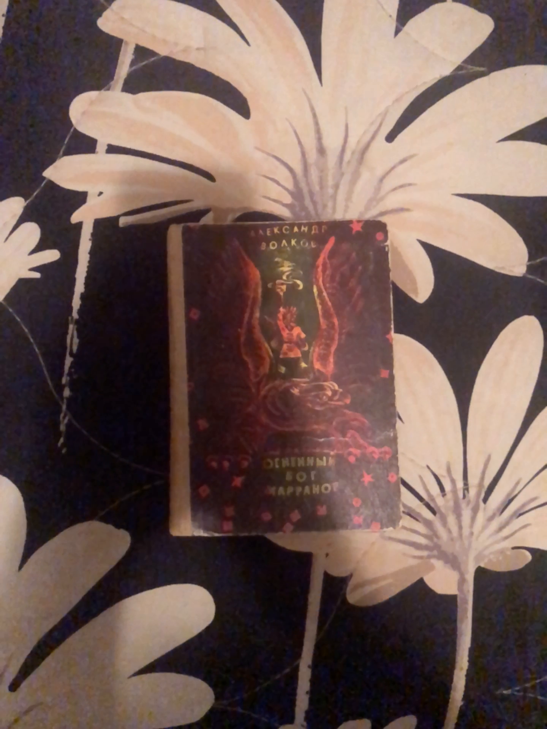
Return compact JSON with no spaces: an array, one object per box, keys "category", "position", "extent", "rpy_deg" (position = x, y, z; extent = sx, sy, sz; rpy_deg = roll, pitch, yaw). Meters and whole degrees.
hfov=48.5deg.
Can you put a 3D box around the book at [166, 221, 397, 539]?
[{"category":"book","position":[0.006,0.009,0.419],"extent":[0.152,0.020,0.211],"rpy_deg":[-1,90,-2]}]
